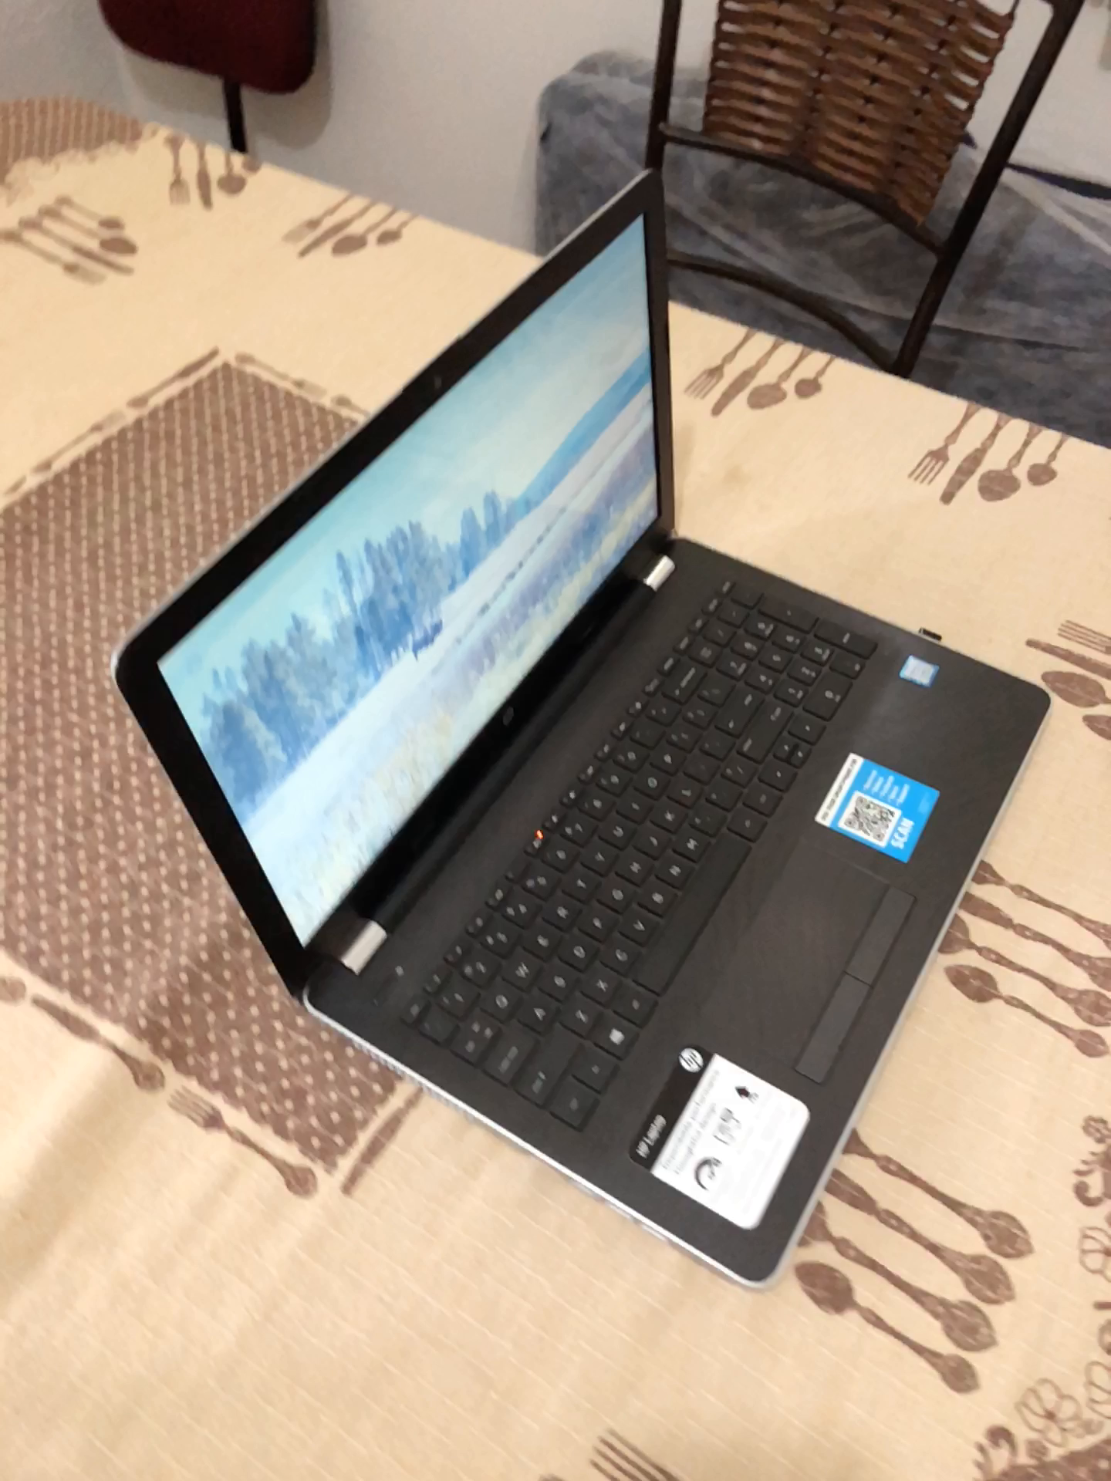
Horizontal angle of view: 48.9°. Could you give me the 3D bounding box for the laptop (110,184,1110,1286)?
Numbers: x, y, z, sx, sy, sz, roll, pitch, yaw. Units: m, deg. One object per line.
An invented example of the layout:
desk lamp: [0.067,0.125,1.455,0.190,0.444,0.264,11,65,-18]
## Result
laptop: [0.066,-0.024,0.537,0.268,0.226,0.361,26,57,19]
